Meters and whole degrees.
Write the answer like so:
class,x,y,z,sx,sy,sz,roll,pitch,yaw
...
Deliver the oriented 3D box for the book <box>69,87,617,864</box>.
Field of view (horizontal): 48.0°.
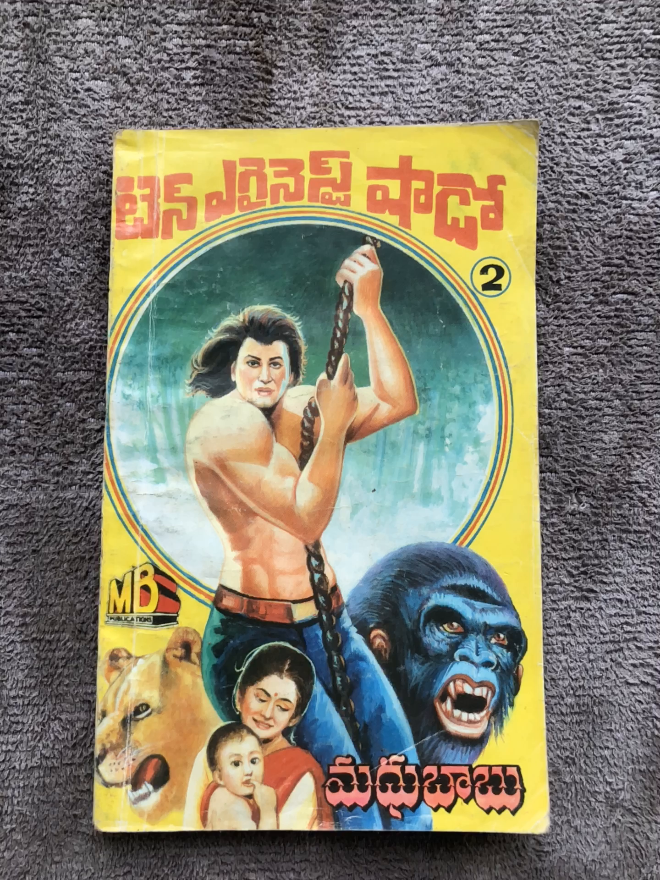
class,x,y,z,sx,sy,sz,roll,pitch,yaw
book,0.003,0.004,0.166,0.110,0.020,0.160,0,84,-3
